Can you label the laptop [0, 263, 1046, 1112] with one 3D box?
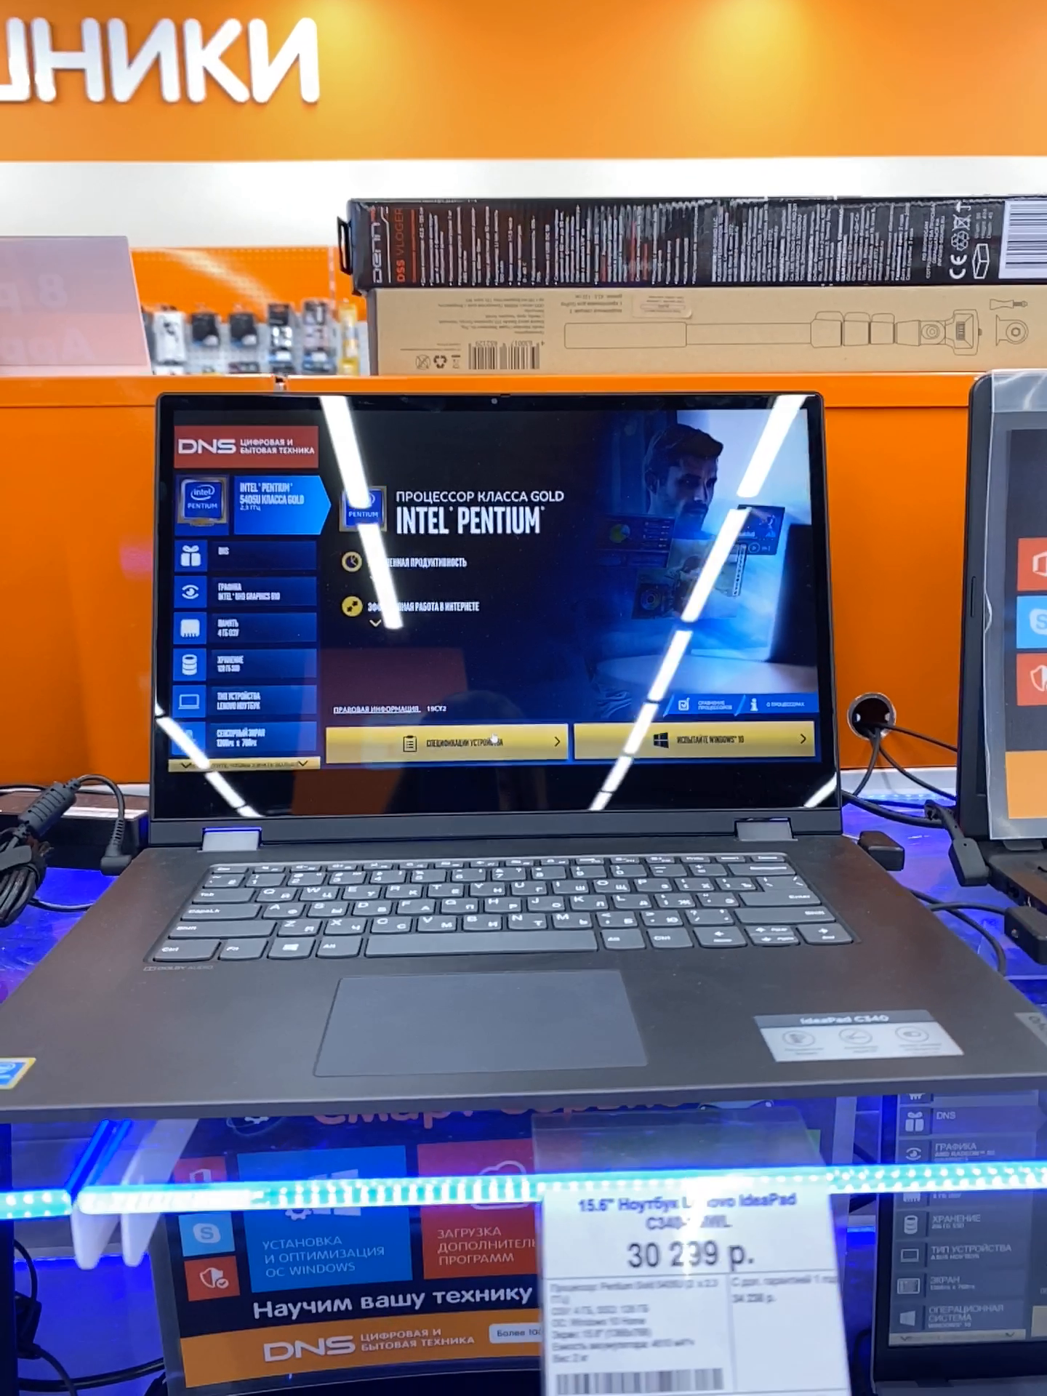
[{"bbox_3d":[-0.017,-0.025,0.459,0.362,0.232,0.318,-1,10,-4],"label":"laptop"}]
